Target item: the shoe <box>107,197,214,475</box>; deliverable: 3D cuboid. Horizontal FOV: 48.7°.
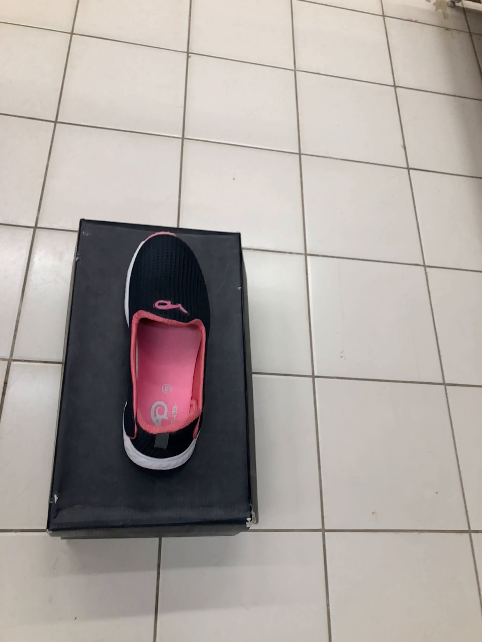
[{"bbox_3d":[-0.081,0.015,0.558,0.090,0.100,0.271,4,66,-11],"label":"shoe"}]
